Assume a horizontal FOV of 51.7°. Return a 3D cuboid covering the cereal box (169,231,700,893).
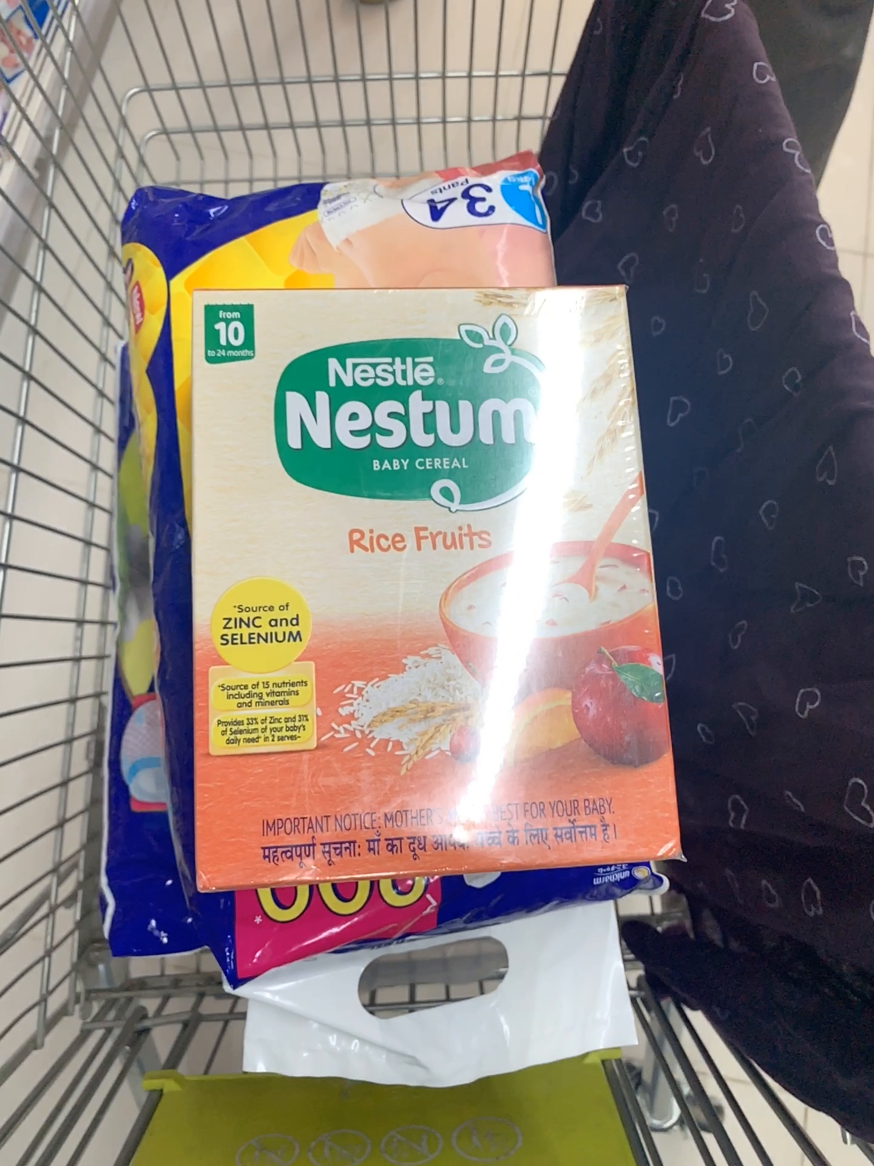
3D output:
[{"bbox_3d":[-0.006,-0.011,0.314,0.160,0.050,0.210,-2,81,-4],"label":"cereal box"}]
